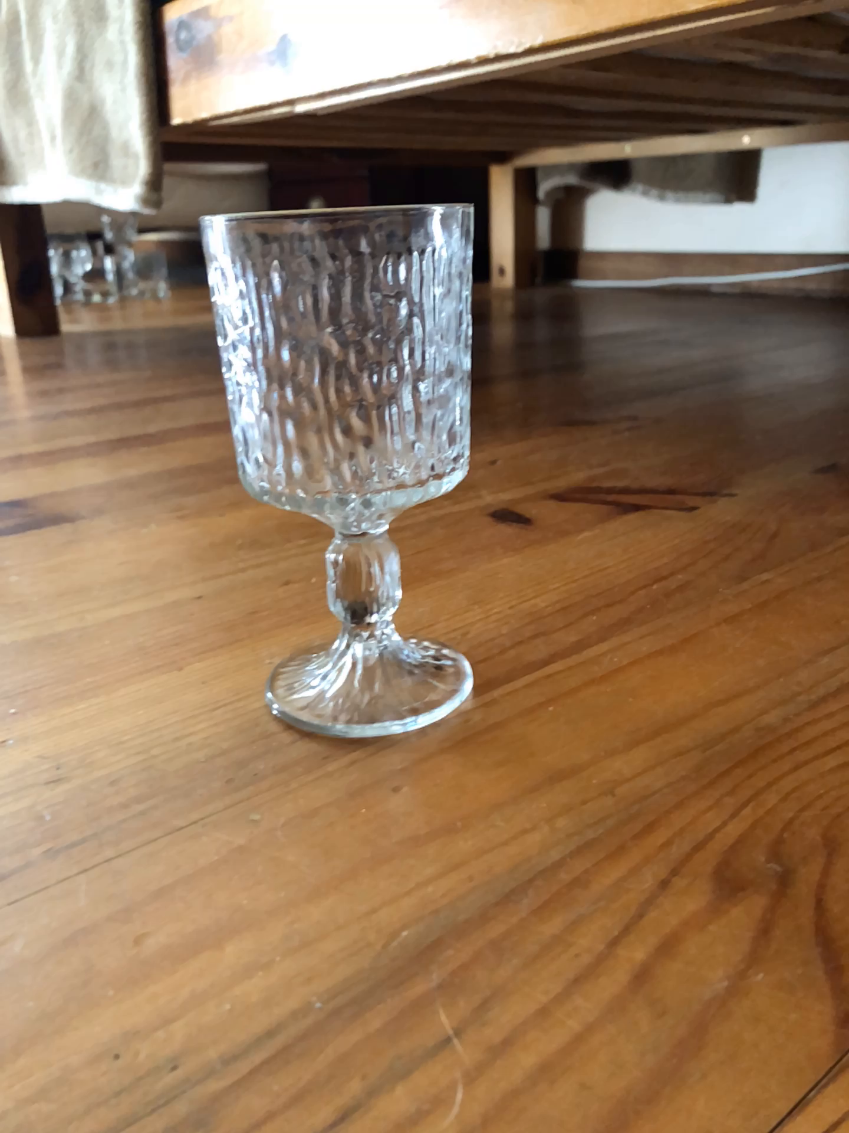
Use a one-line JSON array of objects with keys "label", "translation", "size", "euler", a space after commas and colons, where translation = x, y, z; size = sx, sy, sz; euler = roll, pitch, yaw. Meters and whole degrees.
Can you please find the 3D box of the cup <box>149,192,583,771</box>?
[{"label": "cup", "translation": [-0.015, -0.032, 0.266], "size": [0.081, 0.134, 0.081], "euler": [-2, 19, 1]}]
